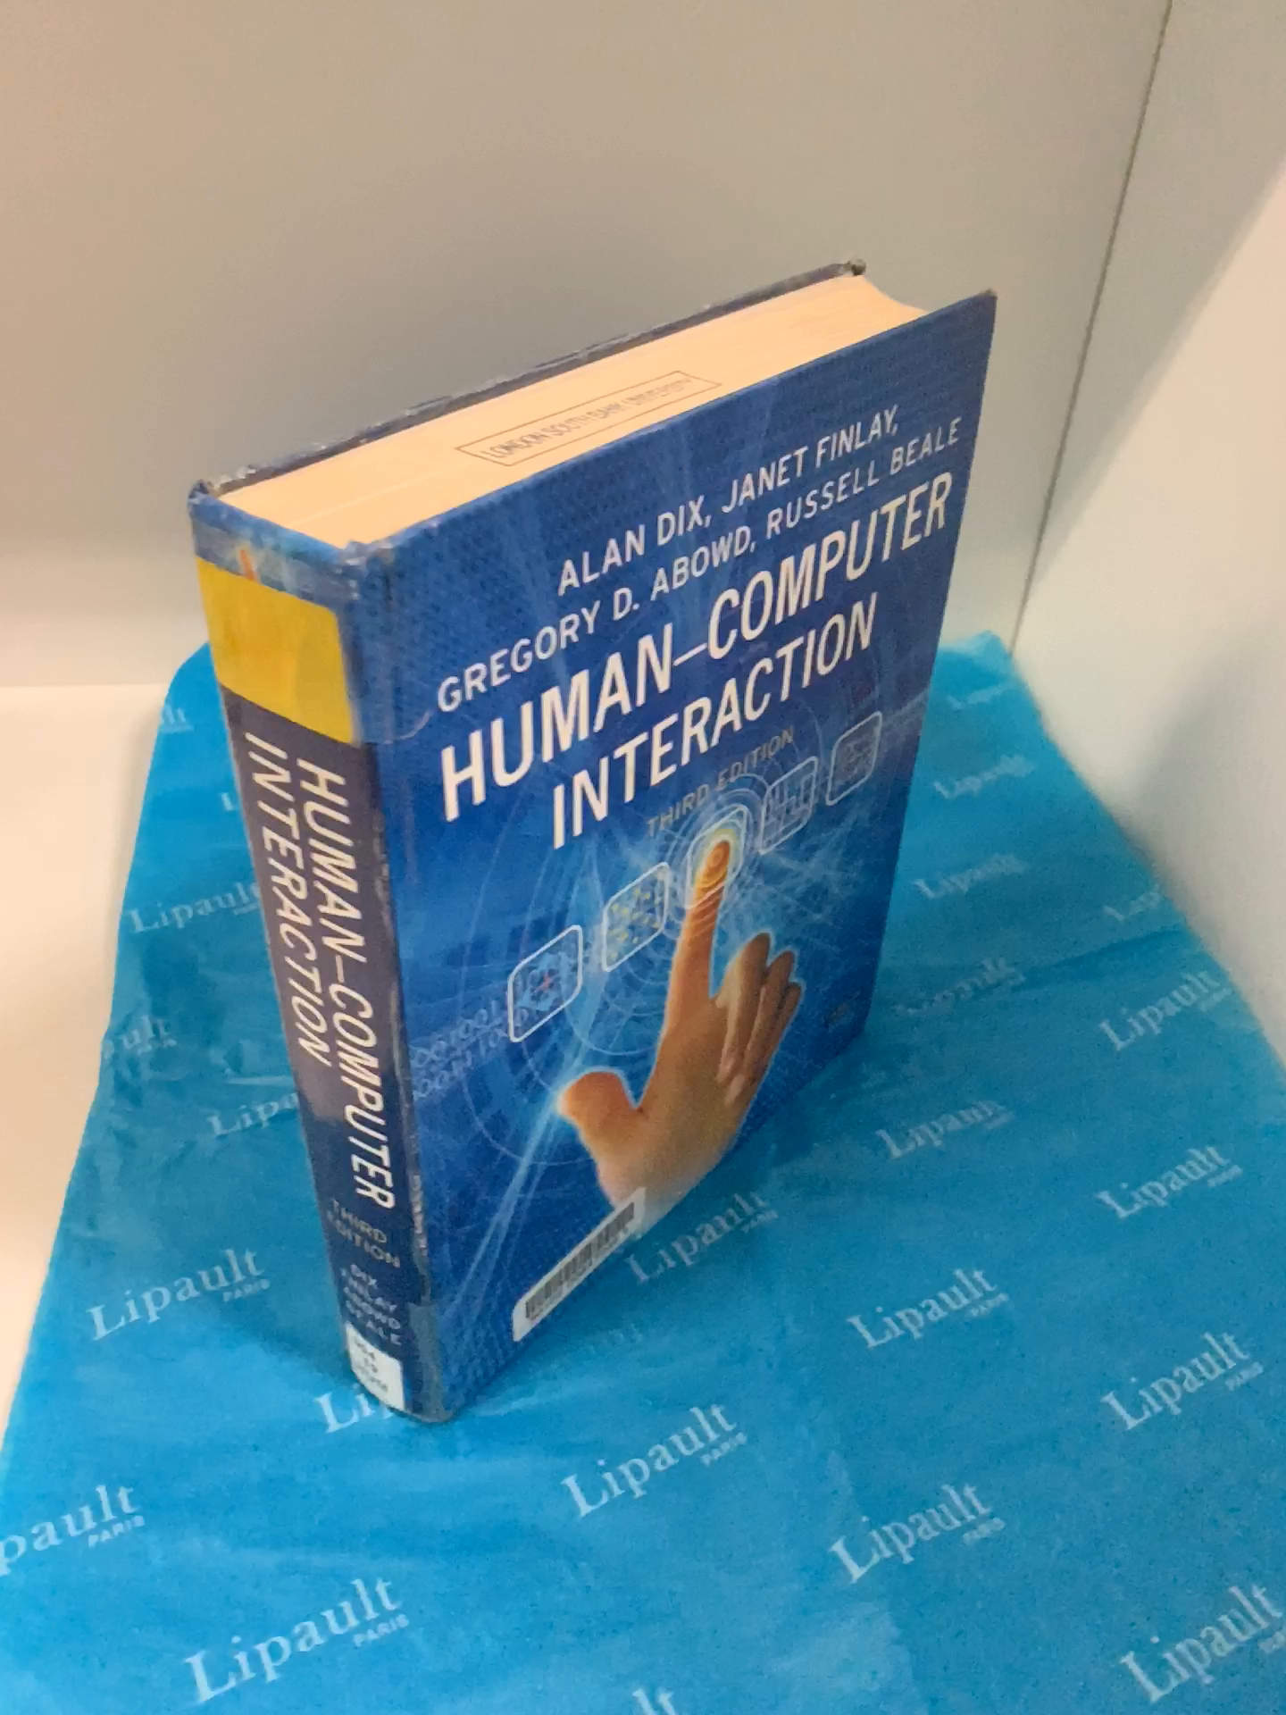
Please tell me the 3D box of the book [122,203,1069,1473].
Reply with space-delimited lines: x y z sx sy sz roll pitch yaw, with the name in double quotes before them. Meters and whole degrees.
"book" 0.003 -0.007 0.338 0.050 0.257 0.221 29 44 29
